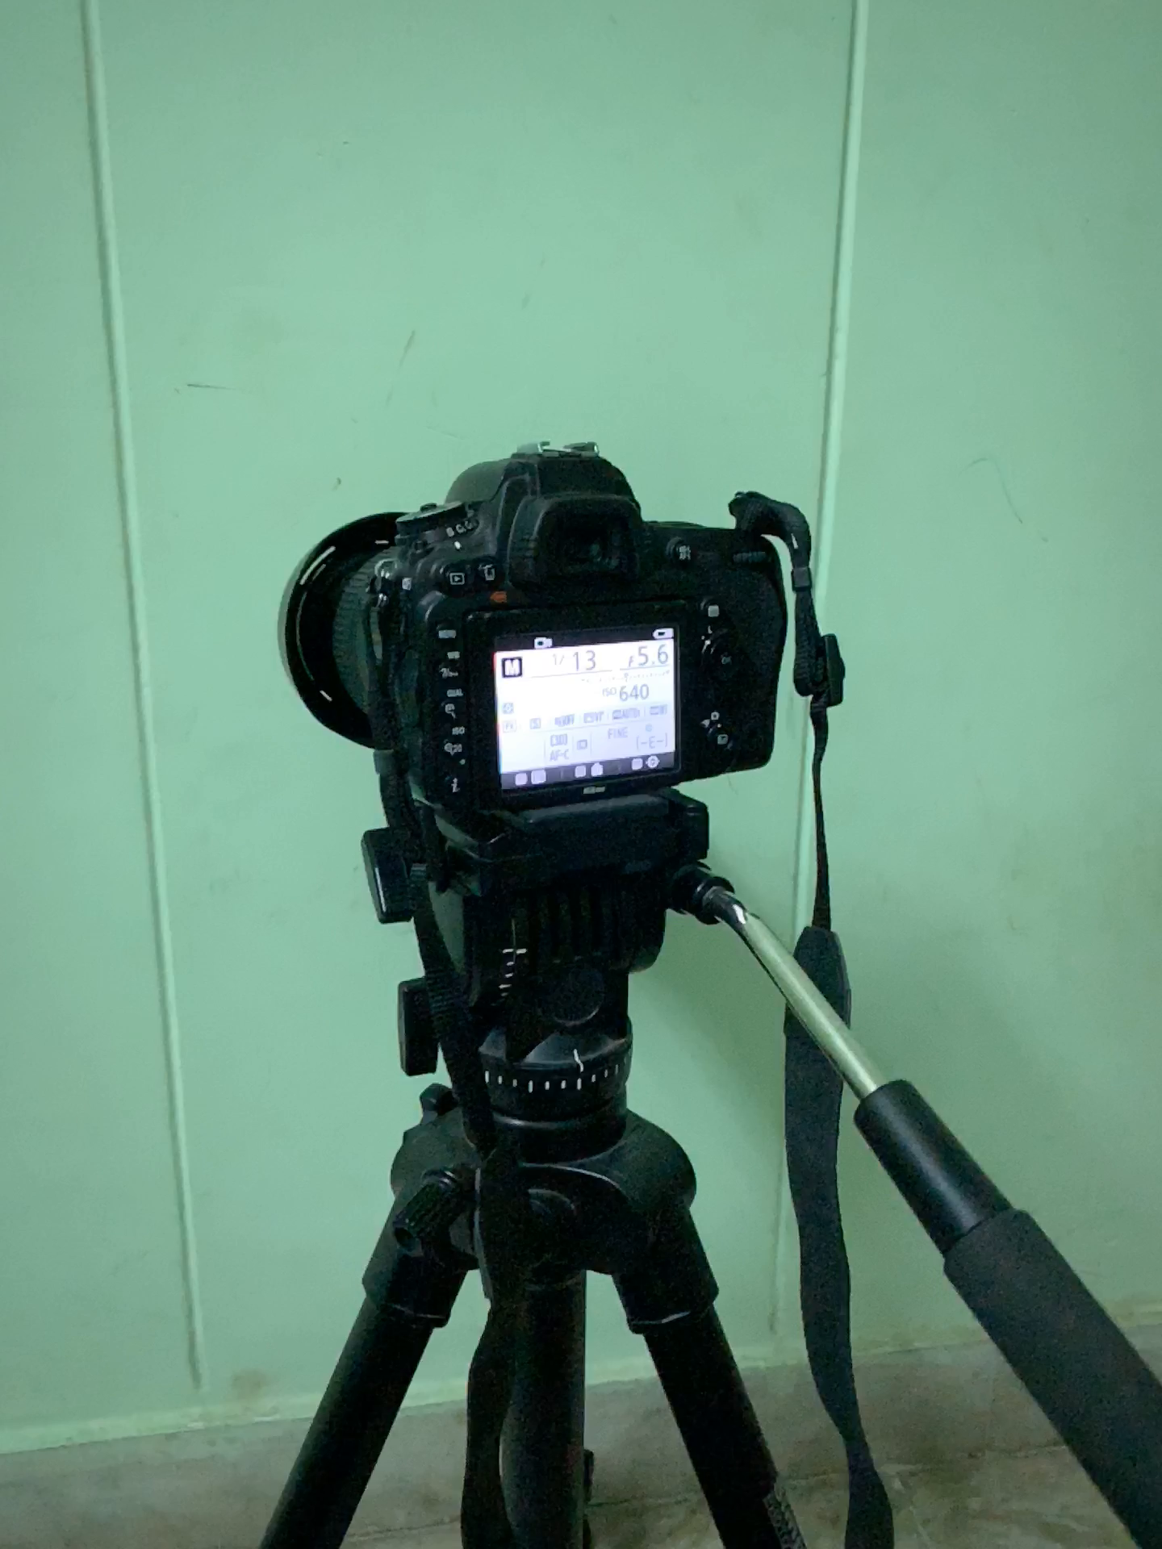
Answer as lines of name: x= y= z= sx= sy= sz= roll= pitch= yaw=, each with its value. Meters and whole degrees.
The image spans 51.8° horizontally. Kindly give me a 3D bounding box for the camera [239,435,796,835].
camera: x=-0.034 y=-0.067 z=0.458 sx=0.140 sy=0.117 sz=0.182 roll=-7 pitch=17 yaw=-28
